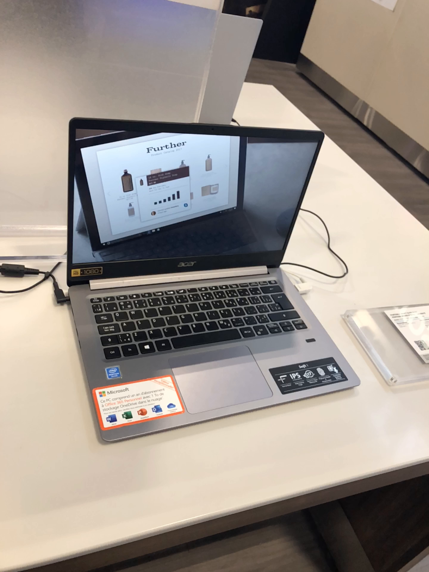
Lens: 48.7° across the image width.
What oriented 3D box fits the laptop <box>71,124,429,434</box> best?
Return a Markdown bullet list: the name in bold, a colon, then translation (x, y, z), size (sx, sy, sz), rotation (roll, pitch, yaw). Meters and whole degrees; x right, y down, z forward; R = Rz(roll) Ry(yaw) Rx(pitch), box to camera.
- **laptop**: translation (0.016, -0.024, 0.528), size (0.306, 0.205, 0.225), rotation (-5, 44, -25)
